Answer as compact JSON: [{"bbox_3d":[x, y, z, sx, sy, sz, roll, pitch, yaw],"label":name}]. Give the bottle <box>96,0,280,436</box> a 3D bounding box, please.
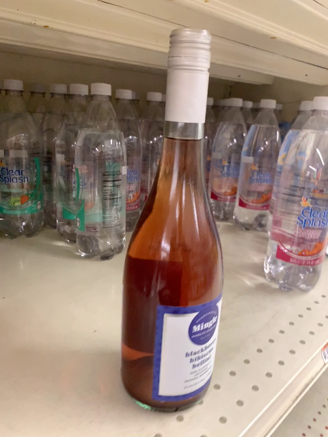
[{"bbox_3d":[0.006,0.012,0.274,0.090,0.299,0.080,-11,24,-38],"label":"bottle"}]
